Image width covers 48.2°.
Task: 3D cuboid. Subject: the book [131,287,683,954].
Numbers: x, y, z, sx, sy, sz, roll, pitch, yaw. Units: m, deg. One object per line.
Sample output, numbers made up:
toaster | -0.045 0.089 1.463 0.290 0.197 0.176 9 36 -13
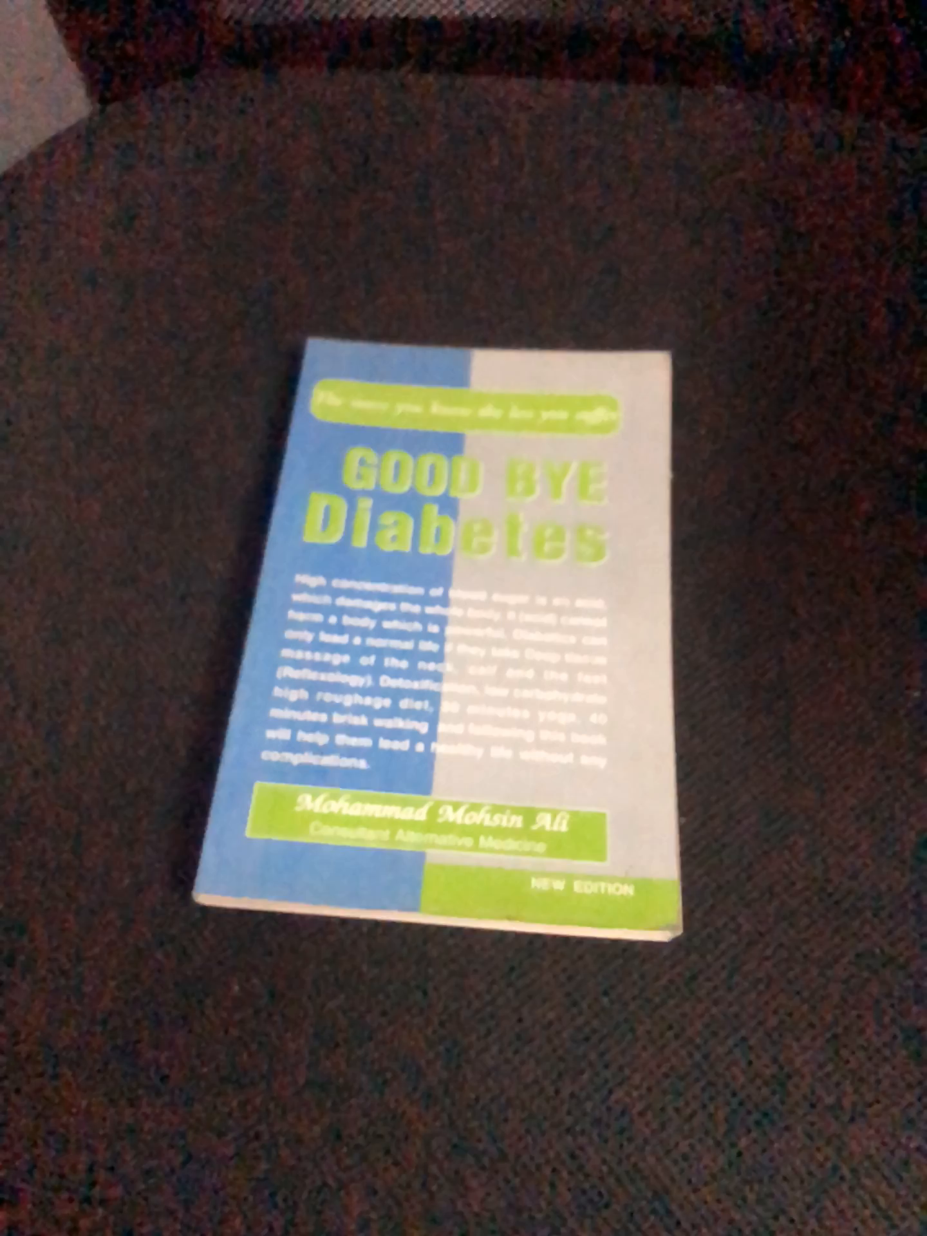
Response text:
book | -0.007 -0.015 0.344 0.150 0.020 0.231 4 61 2
